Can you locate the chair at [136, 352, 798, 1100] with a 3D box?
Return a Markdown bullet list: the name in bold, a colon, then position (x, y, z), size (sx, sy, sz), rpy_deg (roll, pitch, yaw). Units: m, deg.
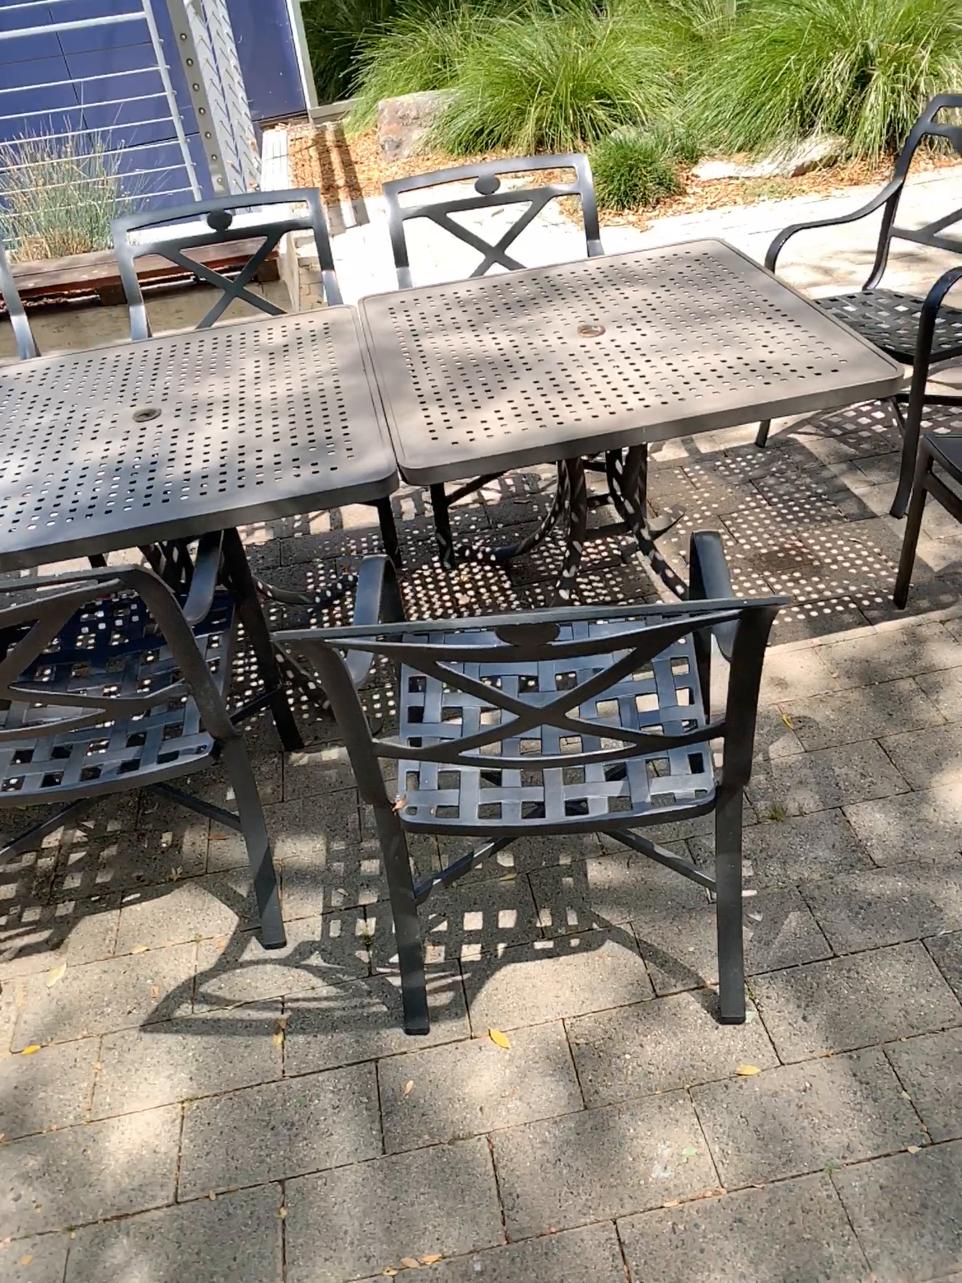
- **chair**: position (0.029, 0.147, 1.440), size (0.630, 0.884, 0.614), rpy_deg (-3, 38, 5)
